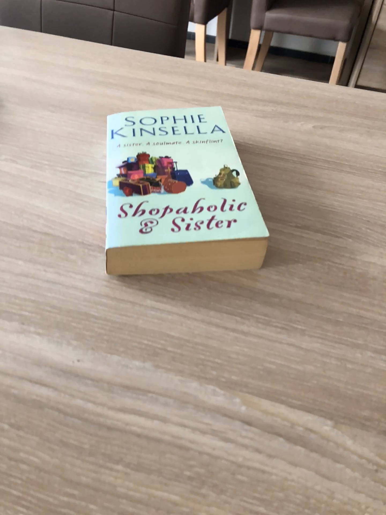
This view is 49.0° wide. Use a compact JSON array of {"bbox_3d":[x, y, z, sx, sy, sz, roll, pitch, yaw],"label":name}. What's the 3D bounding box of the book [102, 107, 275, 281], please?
[{"bbox_3d":[-0.013,-0.062,0.335,0.107,0.032,0.181,-4,44,-6],"label":"book"}]
